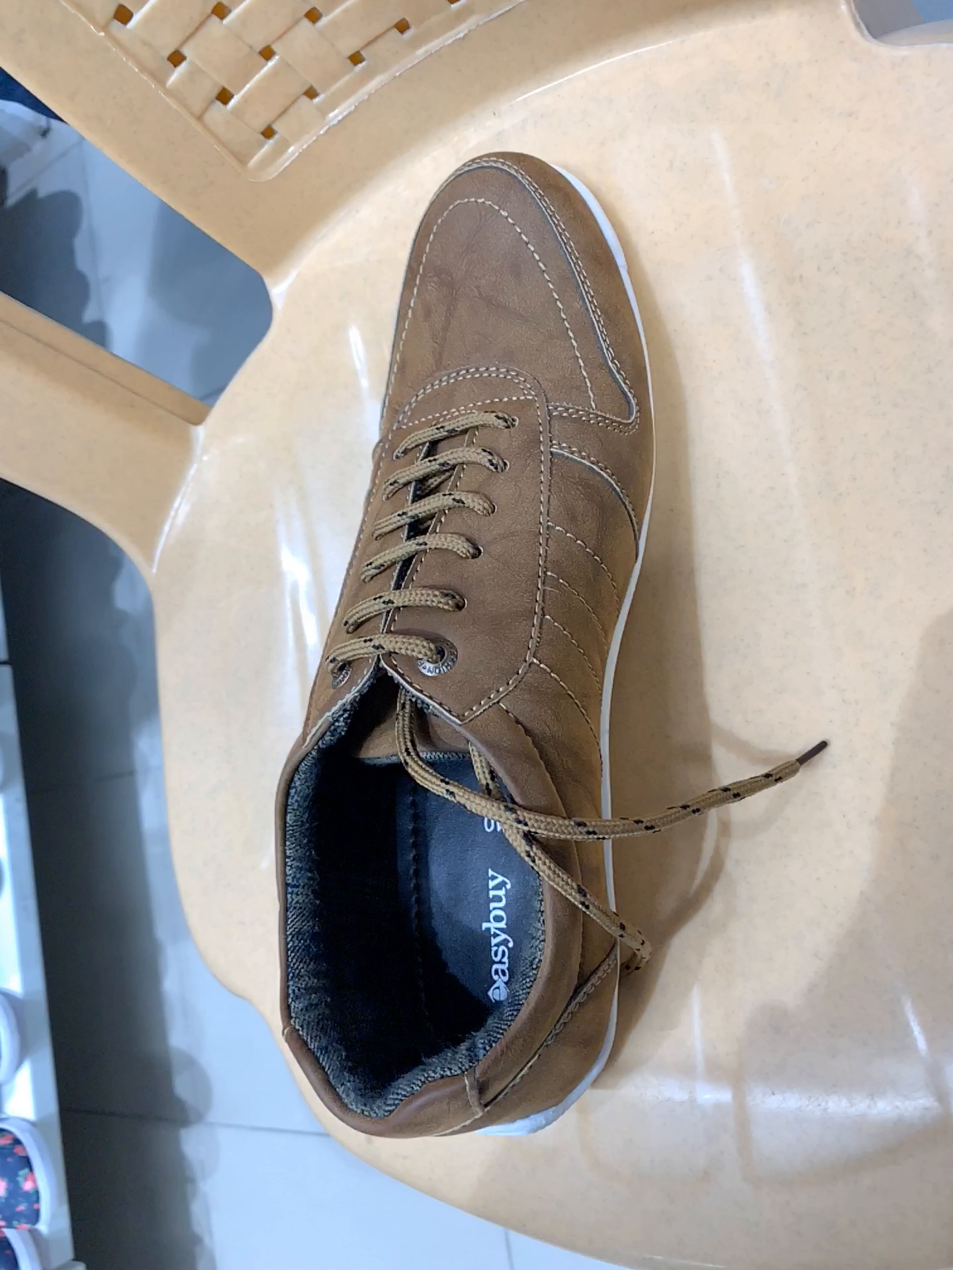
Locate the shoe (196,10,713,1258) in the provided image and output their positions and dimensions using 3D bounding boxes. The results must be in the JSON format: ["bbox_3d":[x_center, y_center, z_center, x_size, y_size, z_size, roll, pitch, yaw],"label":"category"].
[{"bbox_3d":[0.005,-0.007,0.306,0.101,0.100,0.310,-6,74,35],"label":"shoe"}]
